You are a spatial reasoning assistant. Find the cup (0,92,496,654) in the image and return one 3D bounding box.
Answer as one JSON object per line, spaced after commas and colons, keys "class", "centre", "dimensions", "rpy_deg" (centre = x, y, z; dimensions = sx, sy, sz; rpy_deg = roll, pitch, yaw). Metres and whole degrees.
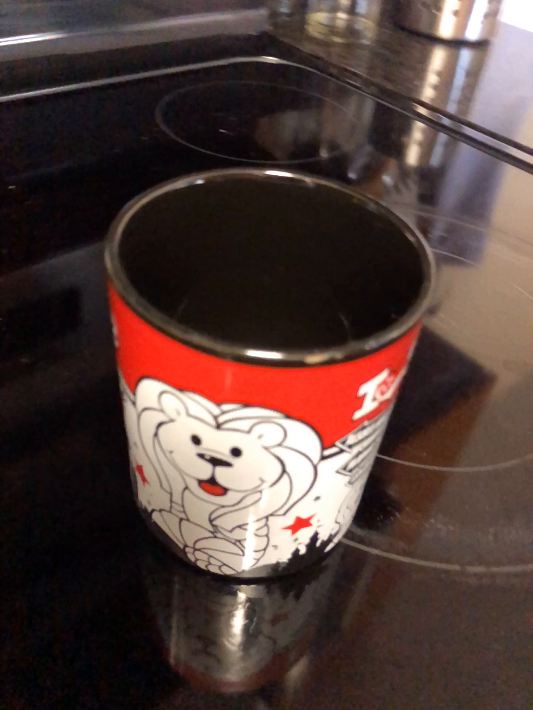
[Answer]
{"class": "cup", "centre": [0.003, -0.007, 0.184], "dimensions": [0.090, 0.090, 0.131], "rpy_deg": [19, 44, 13]}
